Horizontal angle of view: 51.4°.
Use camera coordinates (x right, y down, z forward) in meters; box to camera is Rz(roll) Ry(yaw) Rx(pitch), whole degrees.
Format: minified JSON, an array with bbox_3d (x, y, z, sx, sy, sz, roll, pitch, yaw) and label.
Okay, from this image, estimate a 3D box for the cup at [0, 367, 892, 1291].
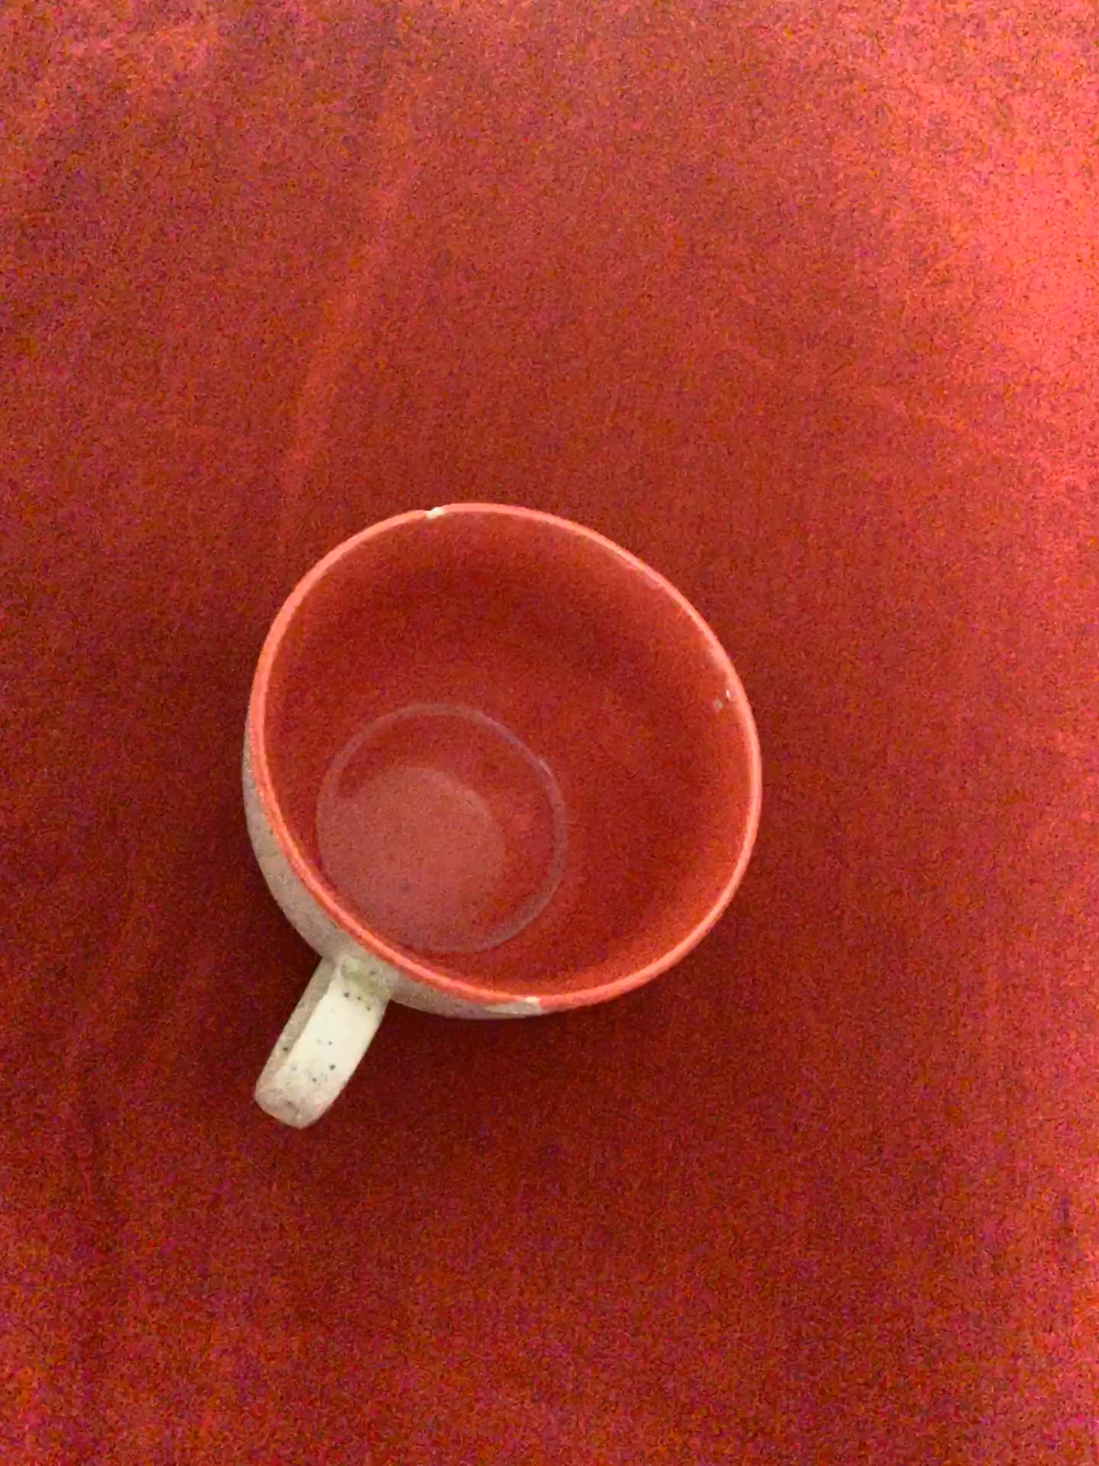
[{"bbox_3d":[-0.019,0.019,0.258,0.130,0.070,0.141,6,68,-16],"label":"cup"}]
